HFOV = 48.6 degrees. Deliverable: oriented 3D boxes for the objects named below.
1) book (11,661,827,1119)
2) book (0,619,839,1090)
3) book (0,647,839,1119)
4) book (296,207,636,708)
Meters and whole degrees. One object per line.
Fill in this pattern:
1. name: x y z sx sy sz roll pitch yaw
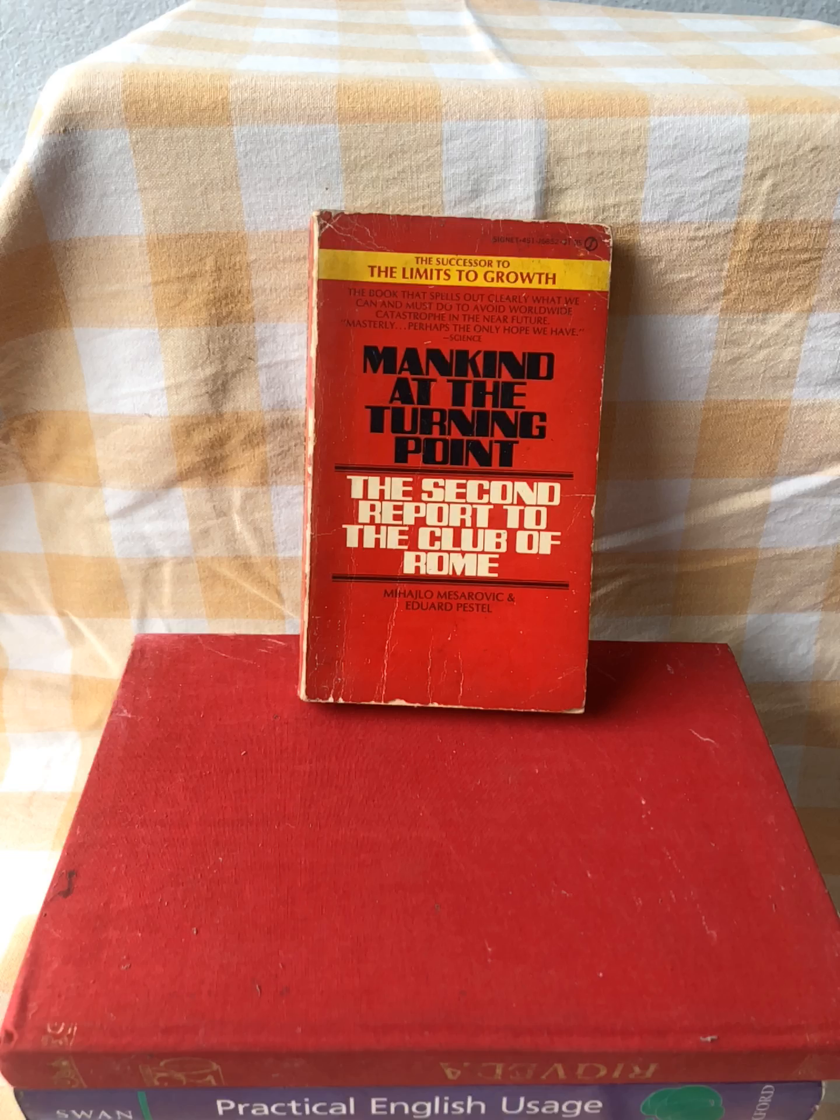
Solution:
1. book: 0.000 0.122 0.361 0.240 0.040 0.191 -1 37 1
2. book: 0.002 0.103 0.375 0.280 0.040 0.191 -1 37 1
3. book: -0.003 0.117 0.374 0.270 0.040 0.191 -1 37 1
4. book: 0.013 -0.035 0.343 0.110 0.170 0.040 2 12 -1
